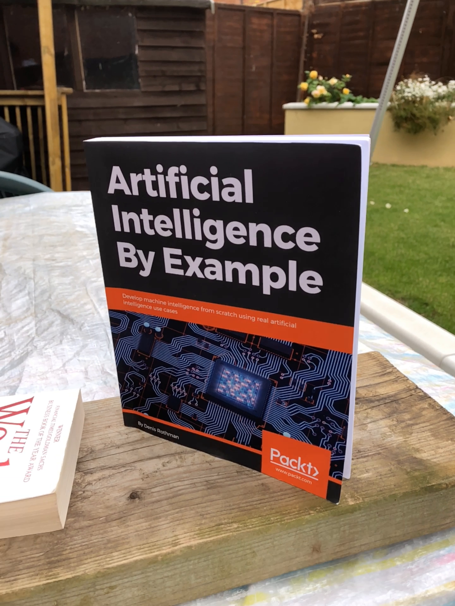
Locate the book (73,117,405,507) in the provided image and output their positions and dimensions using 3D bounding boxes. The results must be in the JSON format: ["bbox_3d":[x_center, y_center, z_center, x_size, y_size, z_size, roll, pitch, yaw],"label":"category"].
[{"bbox_3d":[-0.002,-0.002,0.352,0.210,0.239,0.040,10,23,27],"label":"book"}]
